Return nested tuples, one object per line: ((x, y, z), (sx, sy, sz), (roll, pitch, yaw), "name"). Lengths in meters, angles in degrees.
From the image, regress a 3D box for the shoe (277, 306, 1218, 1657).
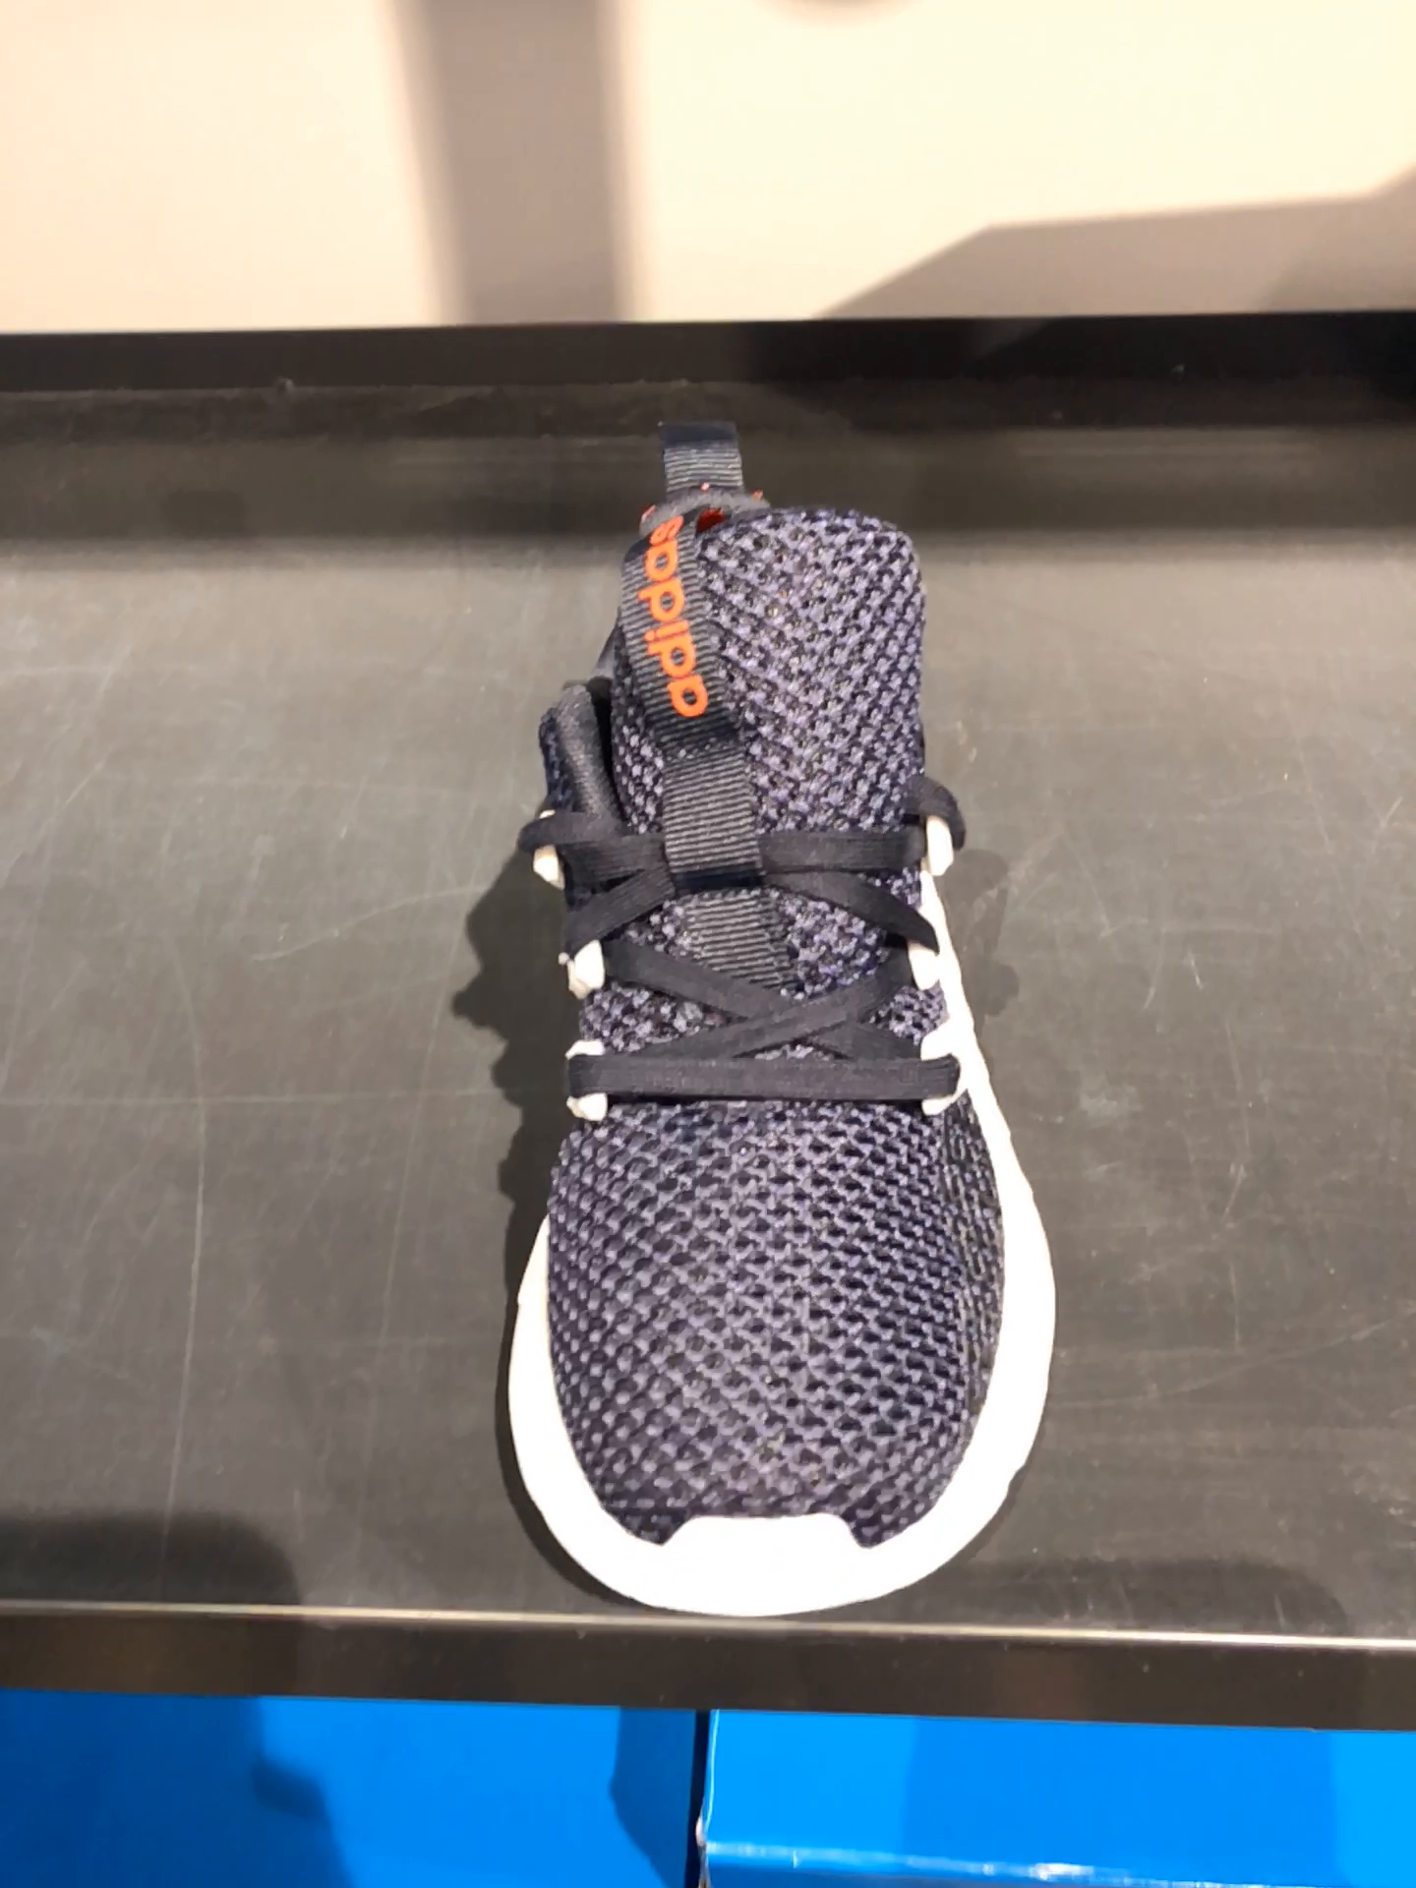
((0.008, -0.008, 0.261), (0.090, 0.110, 0.200), (0, 45, 3), "shoe")
